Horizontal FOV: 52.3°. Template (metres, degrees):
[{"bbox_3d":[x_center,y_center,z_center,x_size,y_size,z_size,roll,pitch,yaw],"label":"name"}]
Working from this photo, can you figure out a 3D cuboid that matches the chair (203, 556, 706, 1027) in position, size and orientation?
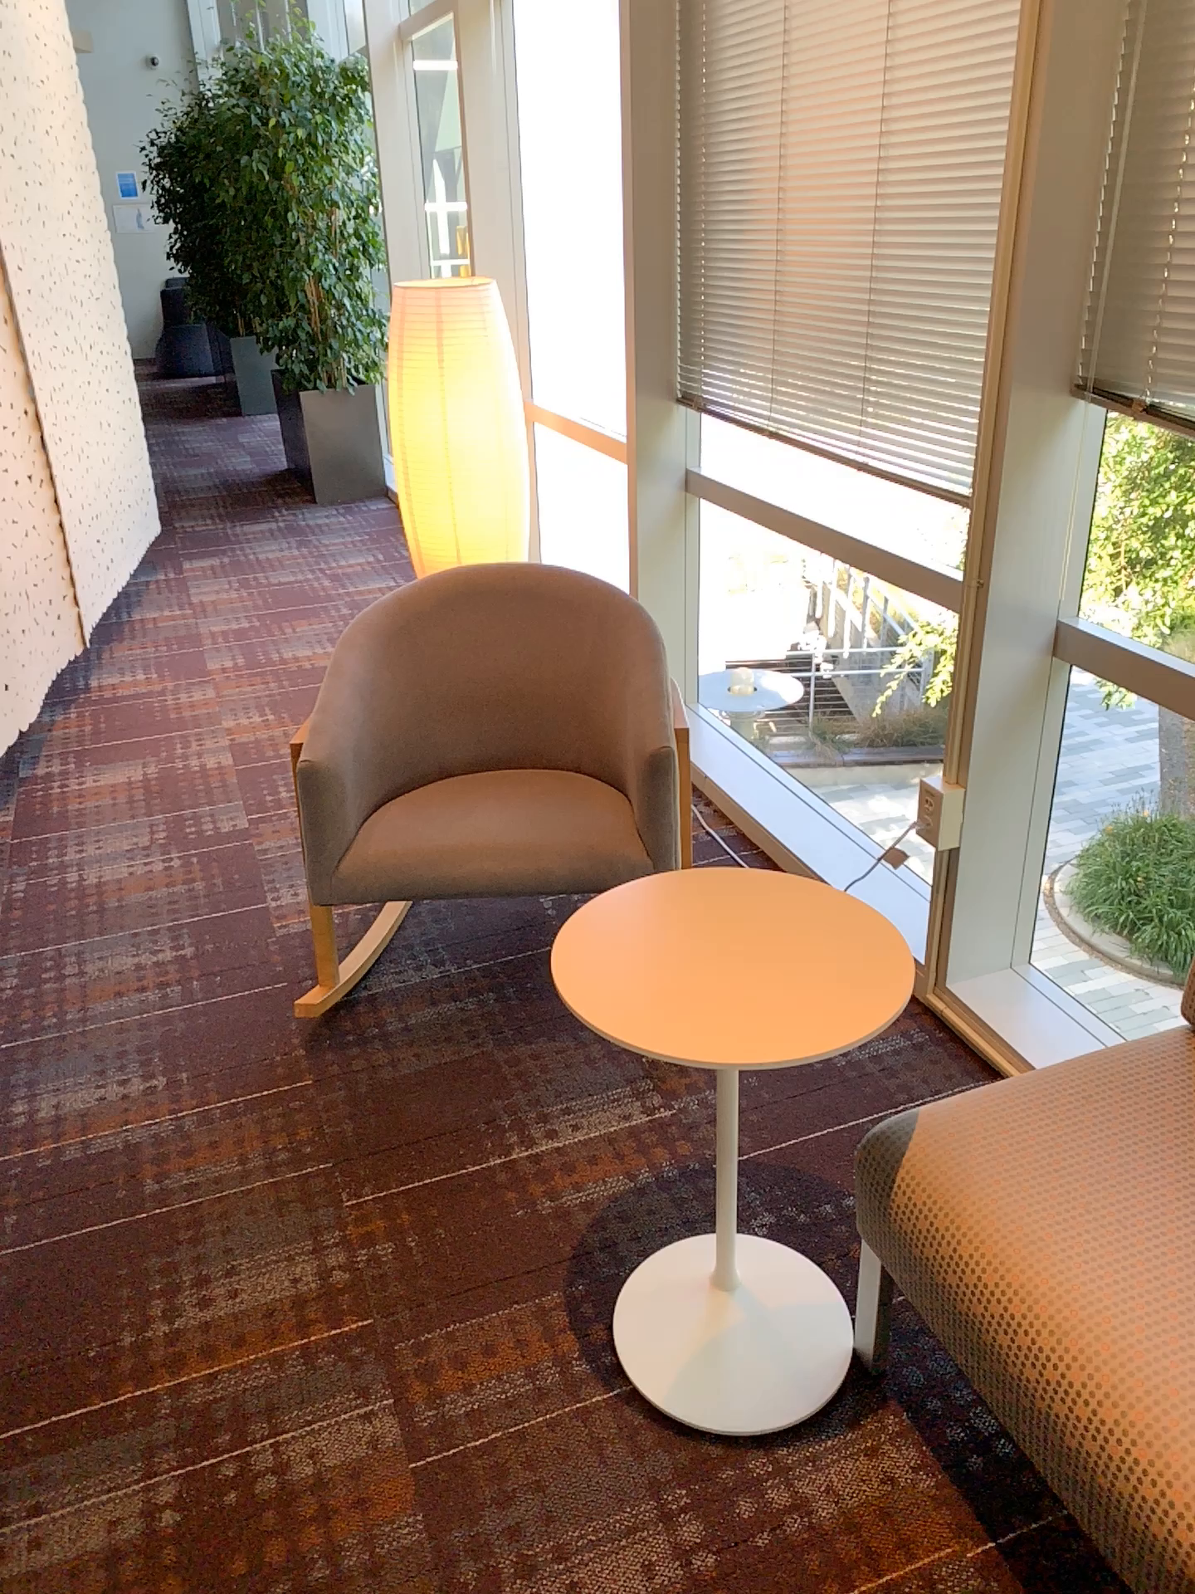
[{"bbox_3d":[-0.240,-0.065,2.607,0.850,0.656,0.915,-2,25,0],"label":"chair"}]
